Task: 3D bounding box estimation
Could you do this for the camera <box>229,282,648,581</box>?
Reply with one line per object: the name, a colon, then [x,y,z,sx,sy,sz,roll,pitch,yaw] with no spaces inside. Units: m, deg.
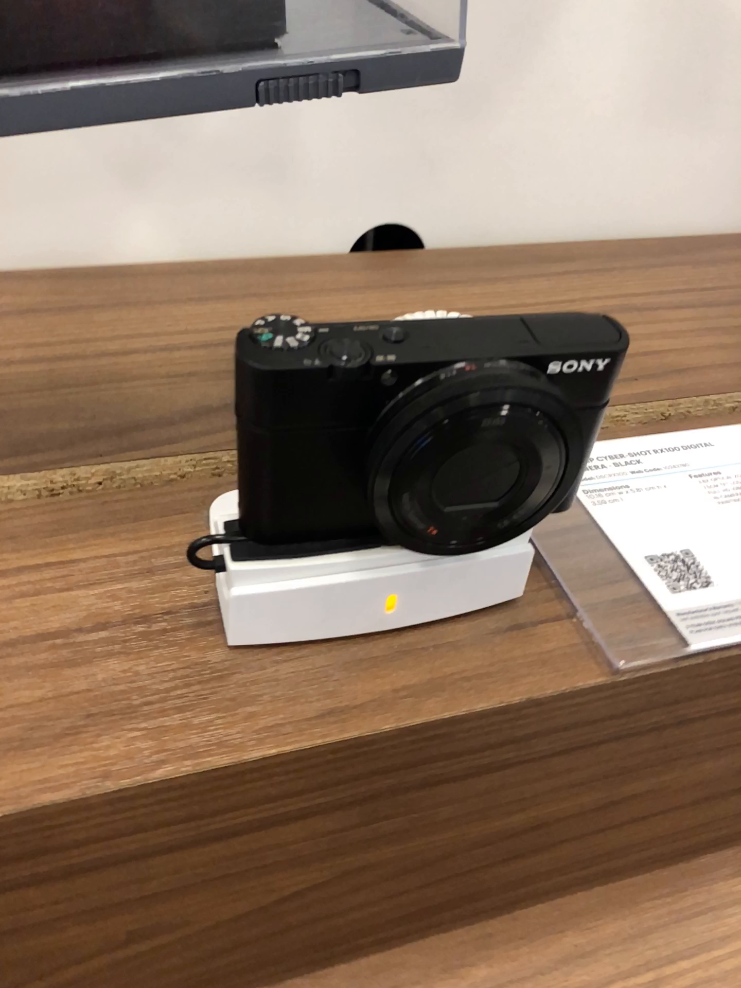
camera: [0.014,-0.017,0.228,0.100,0.070,0.030,-7,45,-15]
